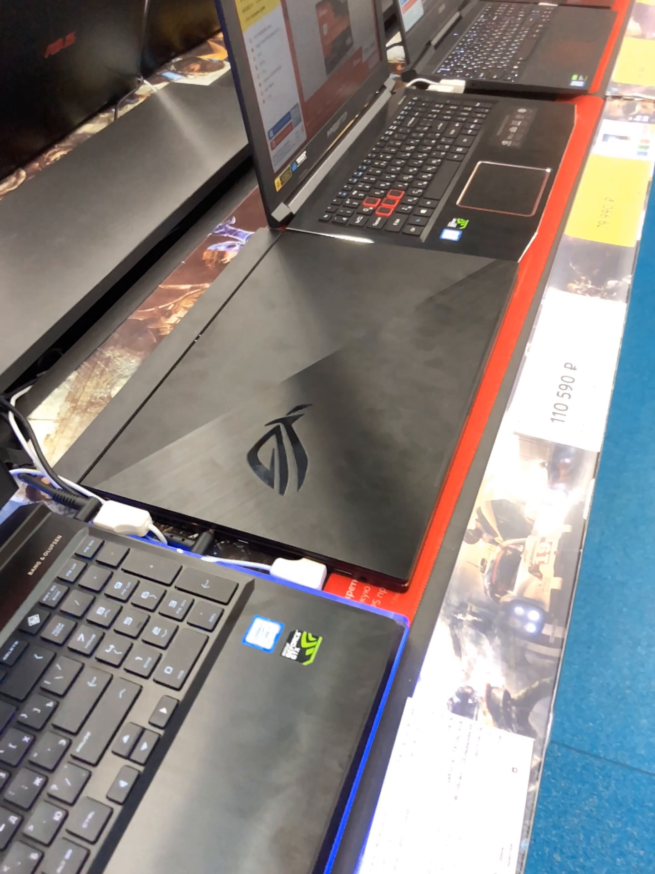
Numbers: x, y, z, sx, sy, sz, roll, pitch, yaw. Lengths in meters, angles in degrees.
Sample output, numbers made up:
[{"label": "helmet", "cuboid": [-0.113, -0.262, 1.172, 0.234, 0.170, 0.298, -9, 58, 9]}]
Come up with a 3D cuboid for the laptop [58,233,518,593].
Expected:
[{"label": "laptop", "cuboid": [-0.007, -0.056, 0.578, 0.254, 0.006, 0.349, 14, 48, 16]}]
